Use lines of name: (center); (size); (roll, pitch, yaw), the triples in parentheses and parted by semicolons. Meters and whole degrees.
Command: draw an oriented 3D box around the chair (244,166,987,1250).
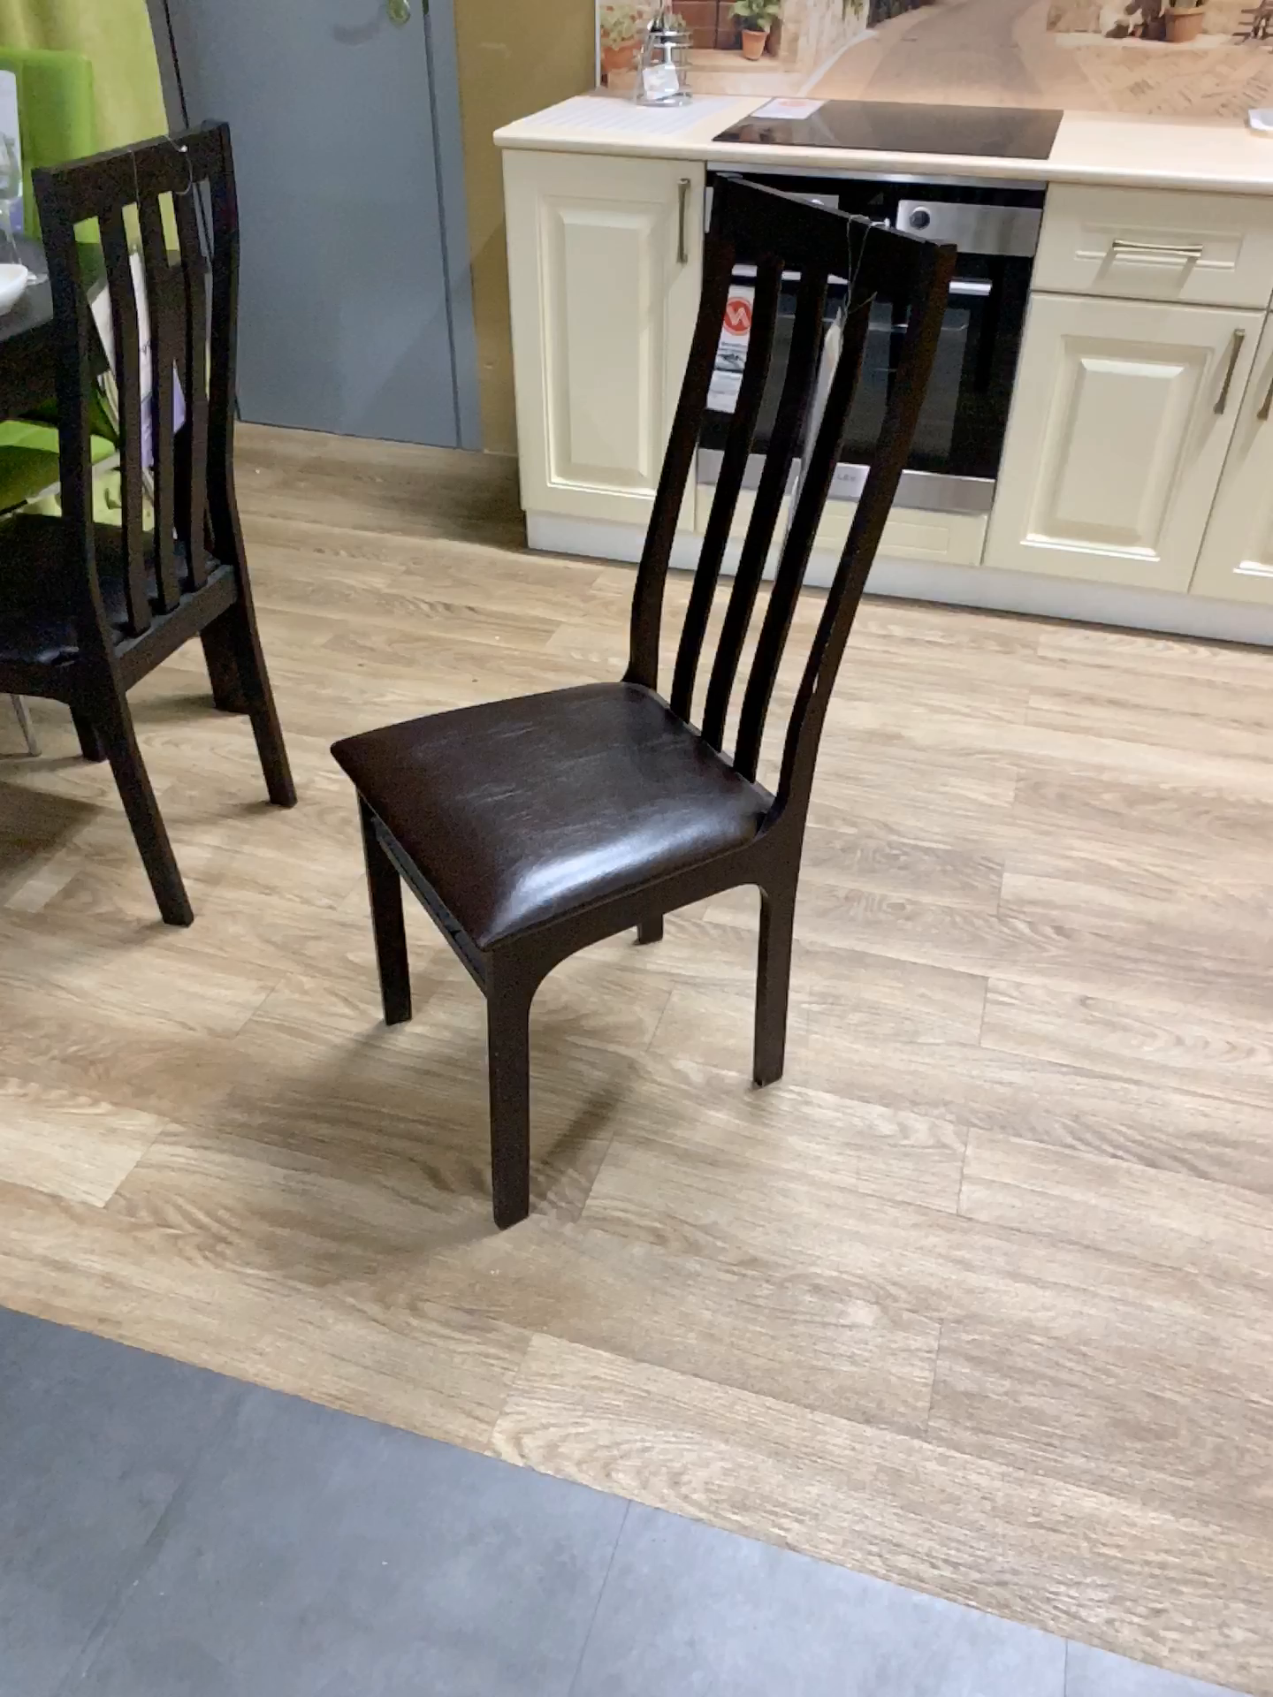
chair: (-0.034, -0.131, 1.407); (0.491, 0.985, 0.422); (-19, 41, -24)
